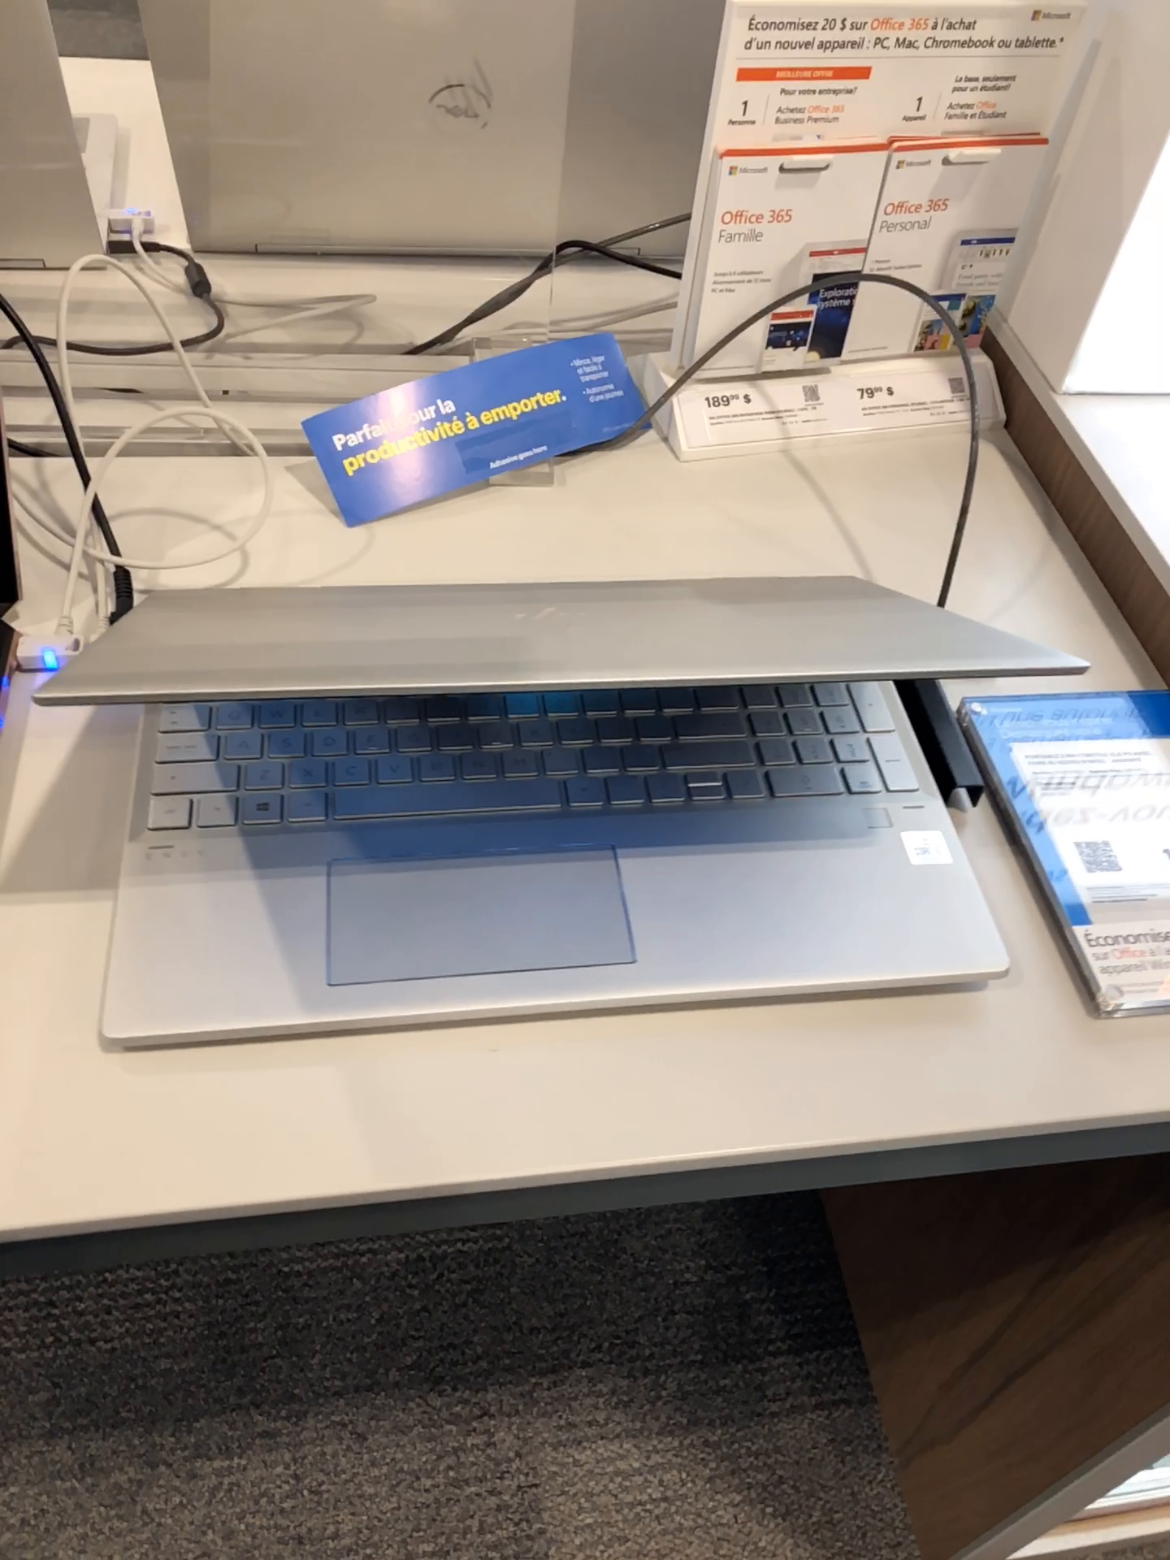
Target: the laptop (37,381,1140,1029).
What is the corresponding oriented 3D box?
[{"bbox_3d":[-0.011,-0.042,0.516,0.346,0.116,0.230,-2,50,-8],"label":"laptop"}]
